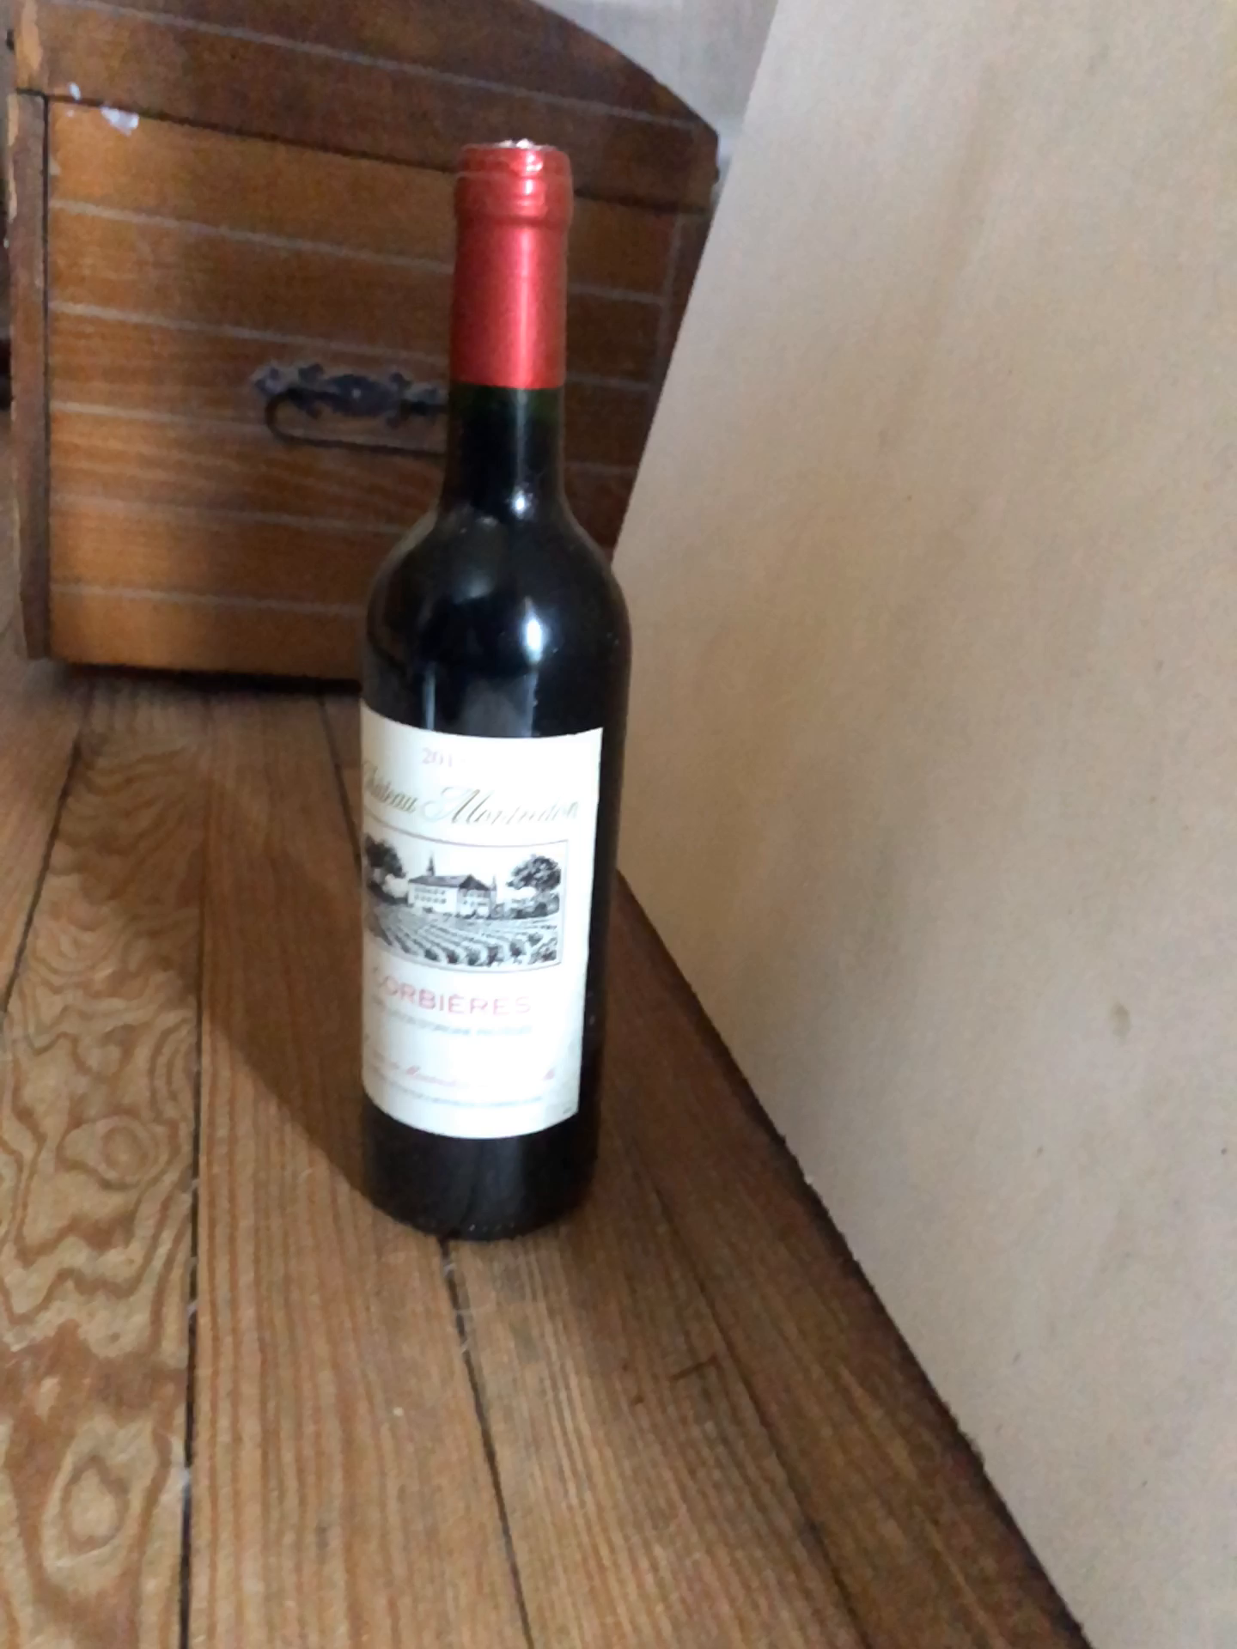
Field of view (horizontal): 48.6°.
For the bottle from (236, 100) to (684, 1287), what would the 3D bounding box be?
[{"bbox_3d":[-0.040,-0.025,0.364,0.080,0.288,0.070,9,23,13],"label":"bottle"}]
